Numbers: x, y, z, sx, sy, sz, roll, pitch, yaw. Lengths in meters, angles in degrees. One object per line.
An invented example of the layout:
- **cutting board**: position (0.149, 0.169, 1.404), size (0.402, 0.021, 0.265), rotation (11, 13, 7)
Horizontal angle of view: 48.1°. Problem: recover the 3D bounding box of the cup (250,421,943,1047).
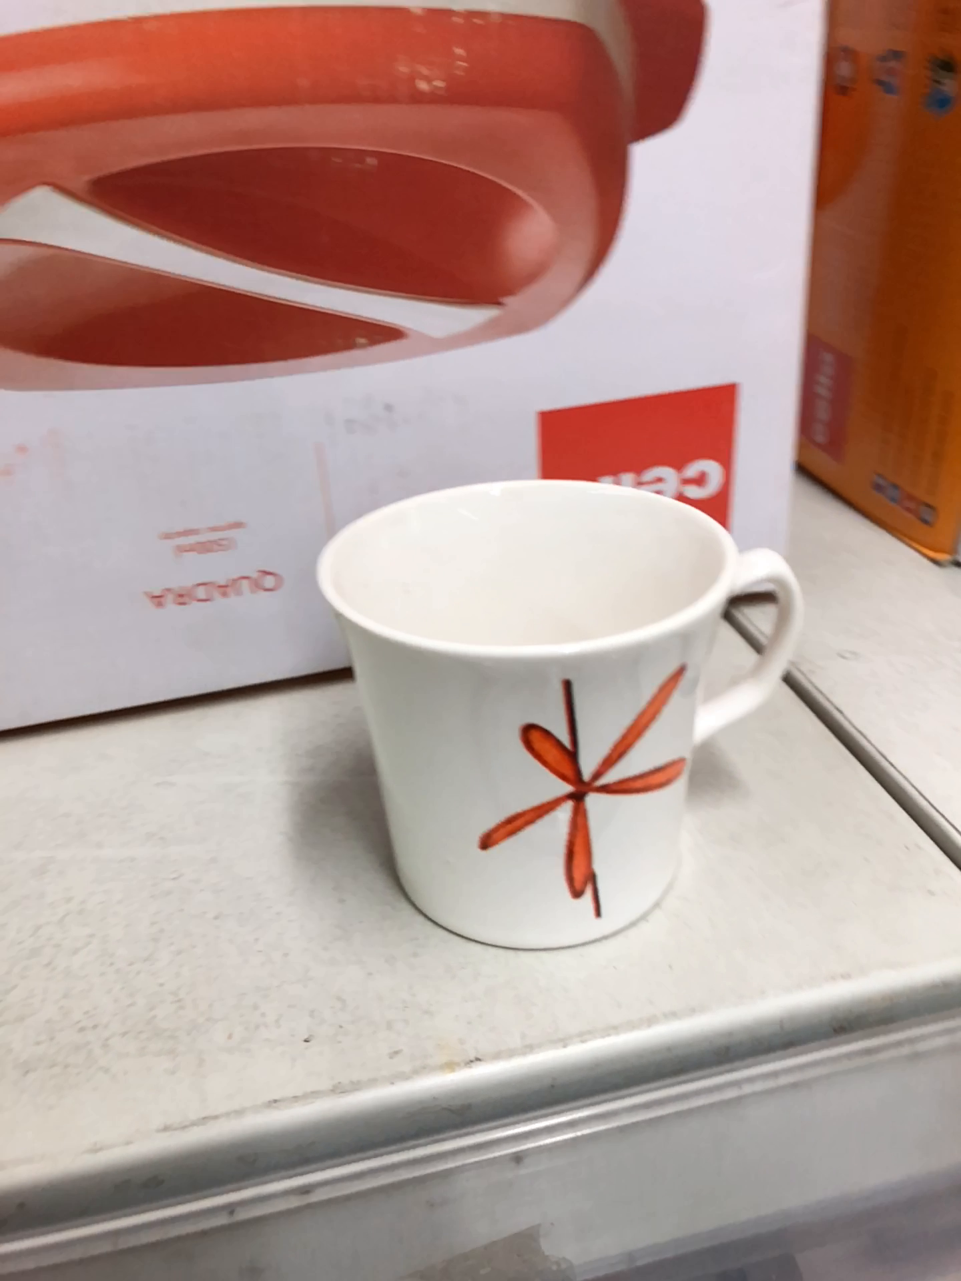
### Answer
- **cup**: position (0.018, 0.010, 0.206), size (0.100, 0.070, 0.070), rotation (-14, 31, -18)
